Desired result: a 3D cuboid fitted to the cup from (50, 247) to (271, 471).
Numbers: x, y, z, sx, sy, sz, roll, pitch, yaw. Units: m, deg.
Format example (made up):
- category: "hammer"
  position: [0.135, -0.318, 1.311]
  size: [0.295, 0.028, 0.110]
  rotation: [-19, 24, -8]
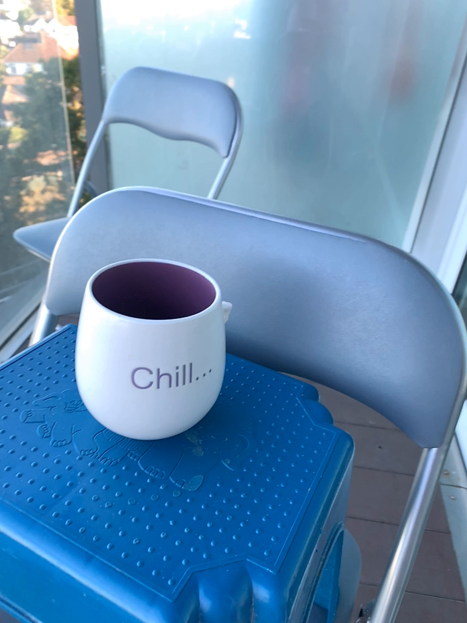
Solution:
- category: "cup"
  position: [-0.055, 0.024, 0.343]
  size: [0.111, 0.090, 0.105]
  rotation: [6, 31, -3]
